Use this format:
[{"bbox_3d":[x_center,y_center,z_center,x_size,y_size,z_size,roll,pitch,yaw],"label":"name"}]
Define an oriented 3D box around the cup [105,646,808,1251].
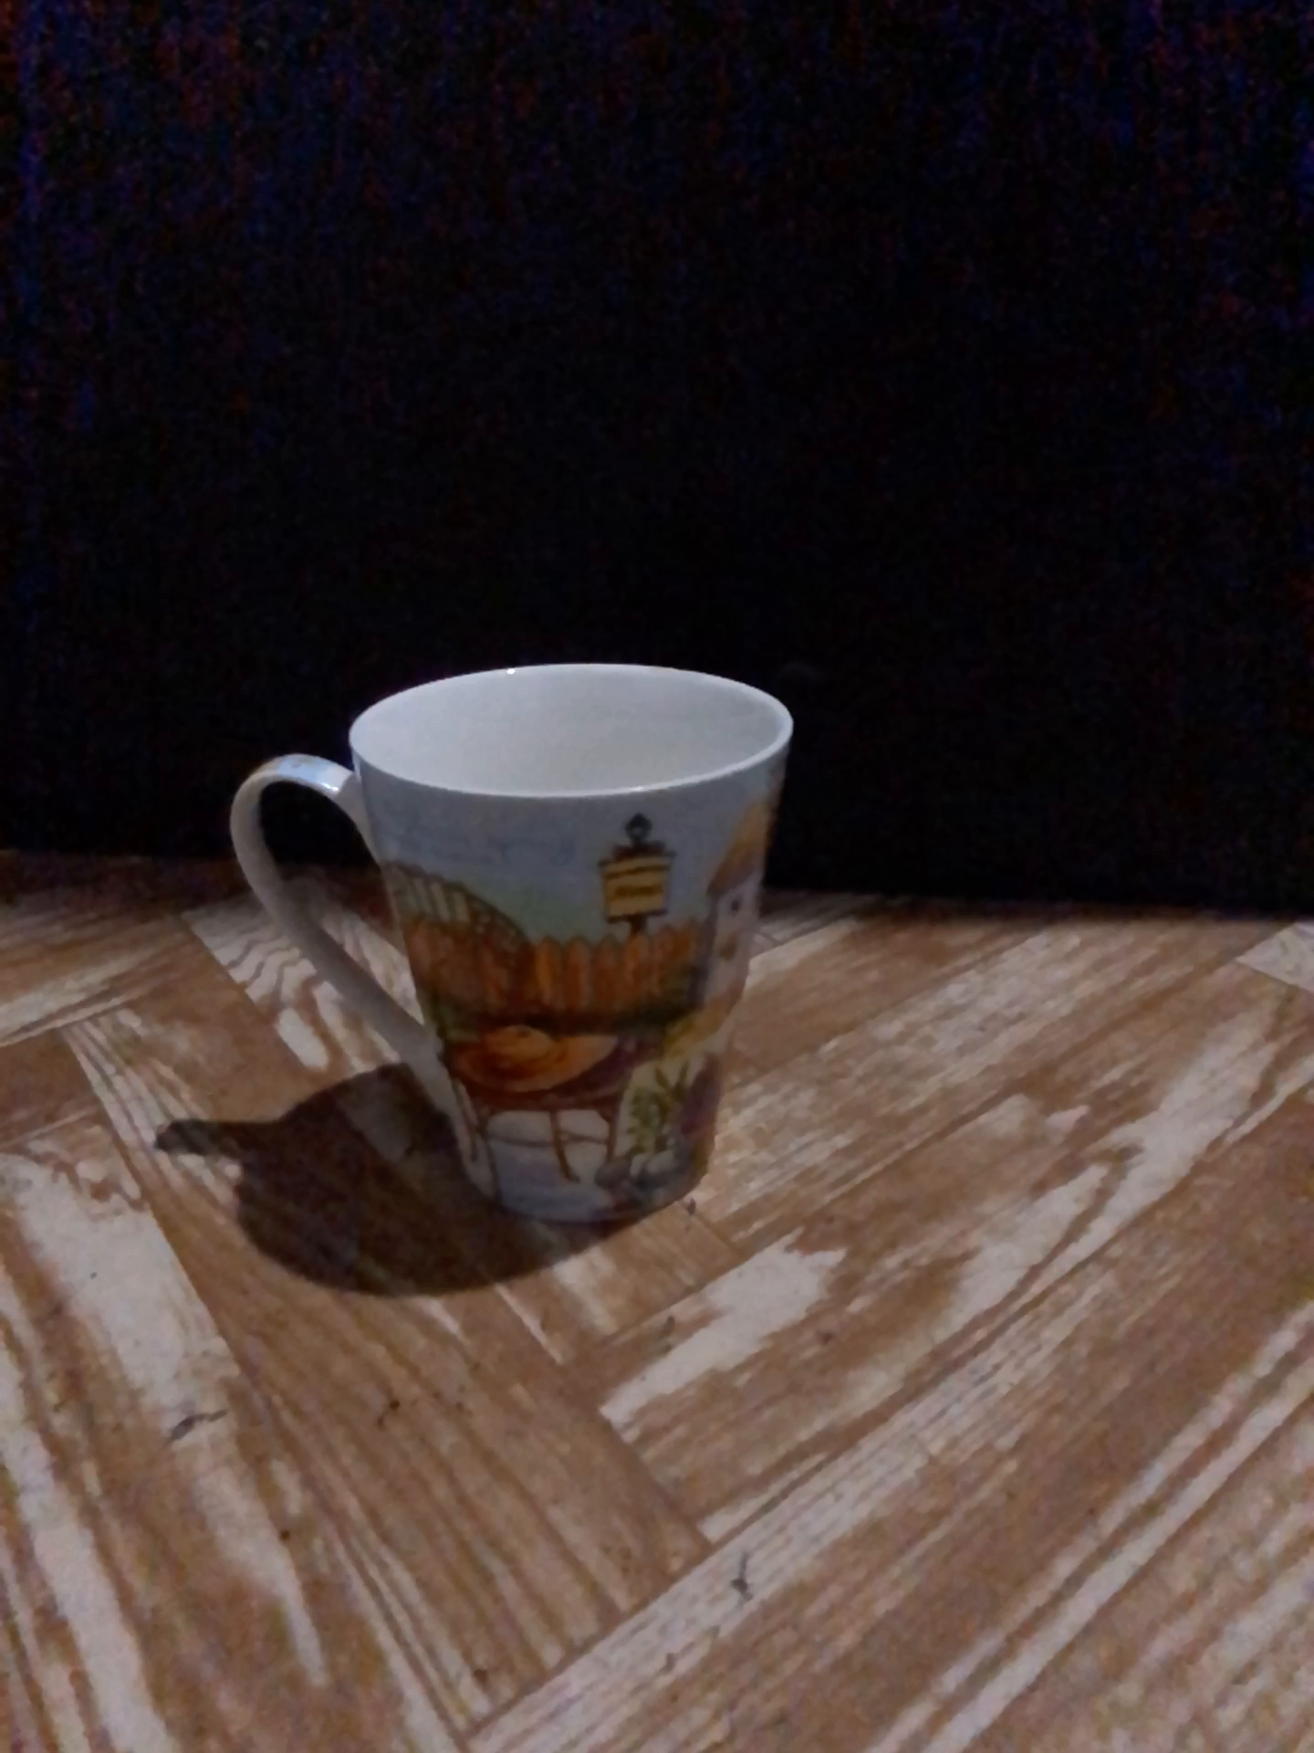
[{"bbox_3d":[-0.032,0.009,0.307,0.120,0.092,0.087,3,23,8],"label":"cup"}]
